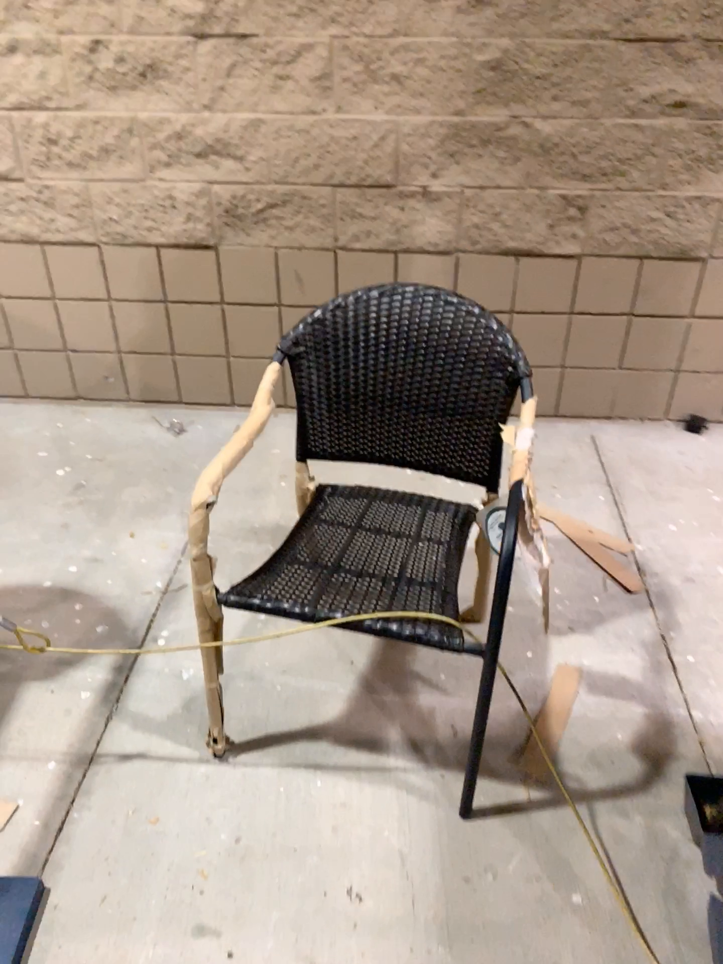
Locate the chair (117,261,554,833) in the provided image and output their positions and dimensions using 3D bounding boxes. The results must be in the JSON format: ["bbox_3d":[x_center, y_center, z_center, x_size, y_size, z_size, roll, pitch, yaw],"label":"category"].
[{"bbox_3d":[0.011,0.099,1.440,0.575,0.839,0.600,8,34,12],"label":"chair"}]
